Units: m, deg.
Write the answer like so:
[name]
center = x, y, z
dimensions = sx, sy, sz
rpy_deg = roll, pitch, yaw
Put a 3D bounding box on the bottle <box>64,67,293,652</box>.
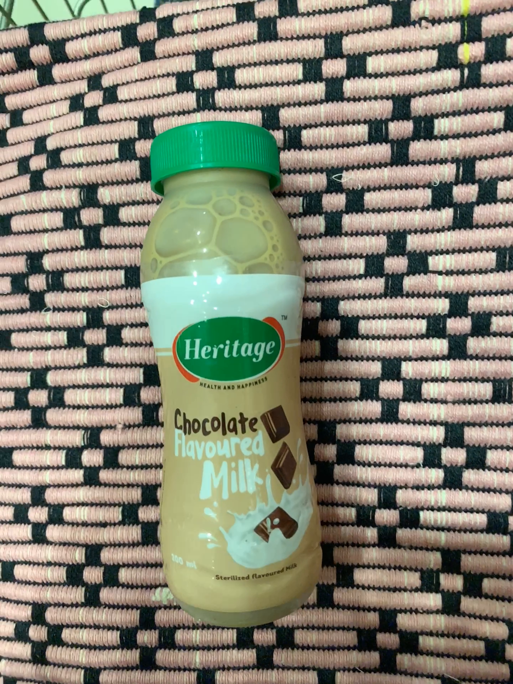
[bottle]
center = -0.020, 0.003, 0.155
dimensions = 0.050, 0.050, 0.140
rpy_deg = -3, 87, -2
